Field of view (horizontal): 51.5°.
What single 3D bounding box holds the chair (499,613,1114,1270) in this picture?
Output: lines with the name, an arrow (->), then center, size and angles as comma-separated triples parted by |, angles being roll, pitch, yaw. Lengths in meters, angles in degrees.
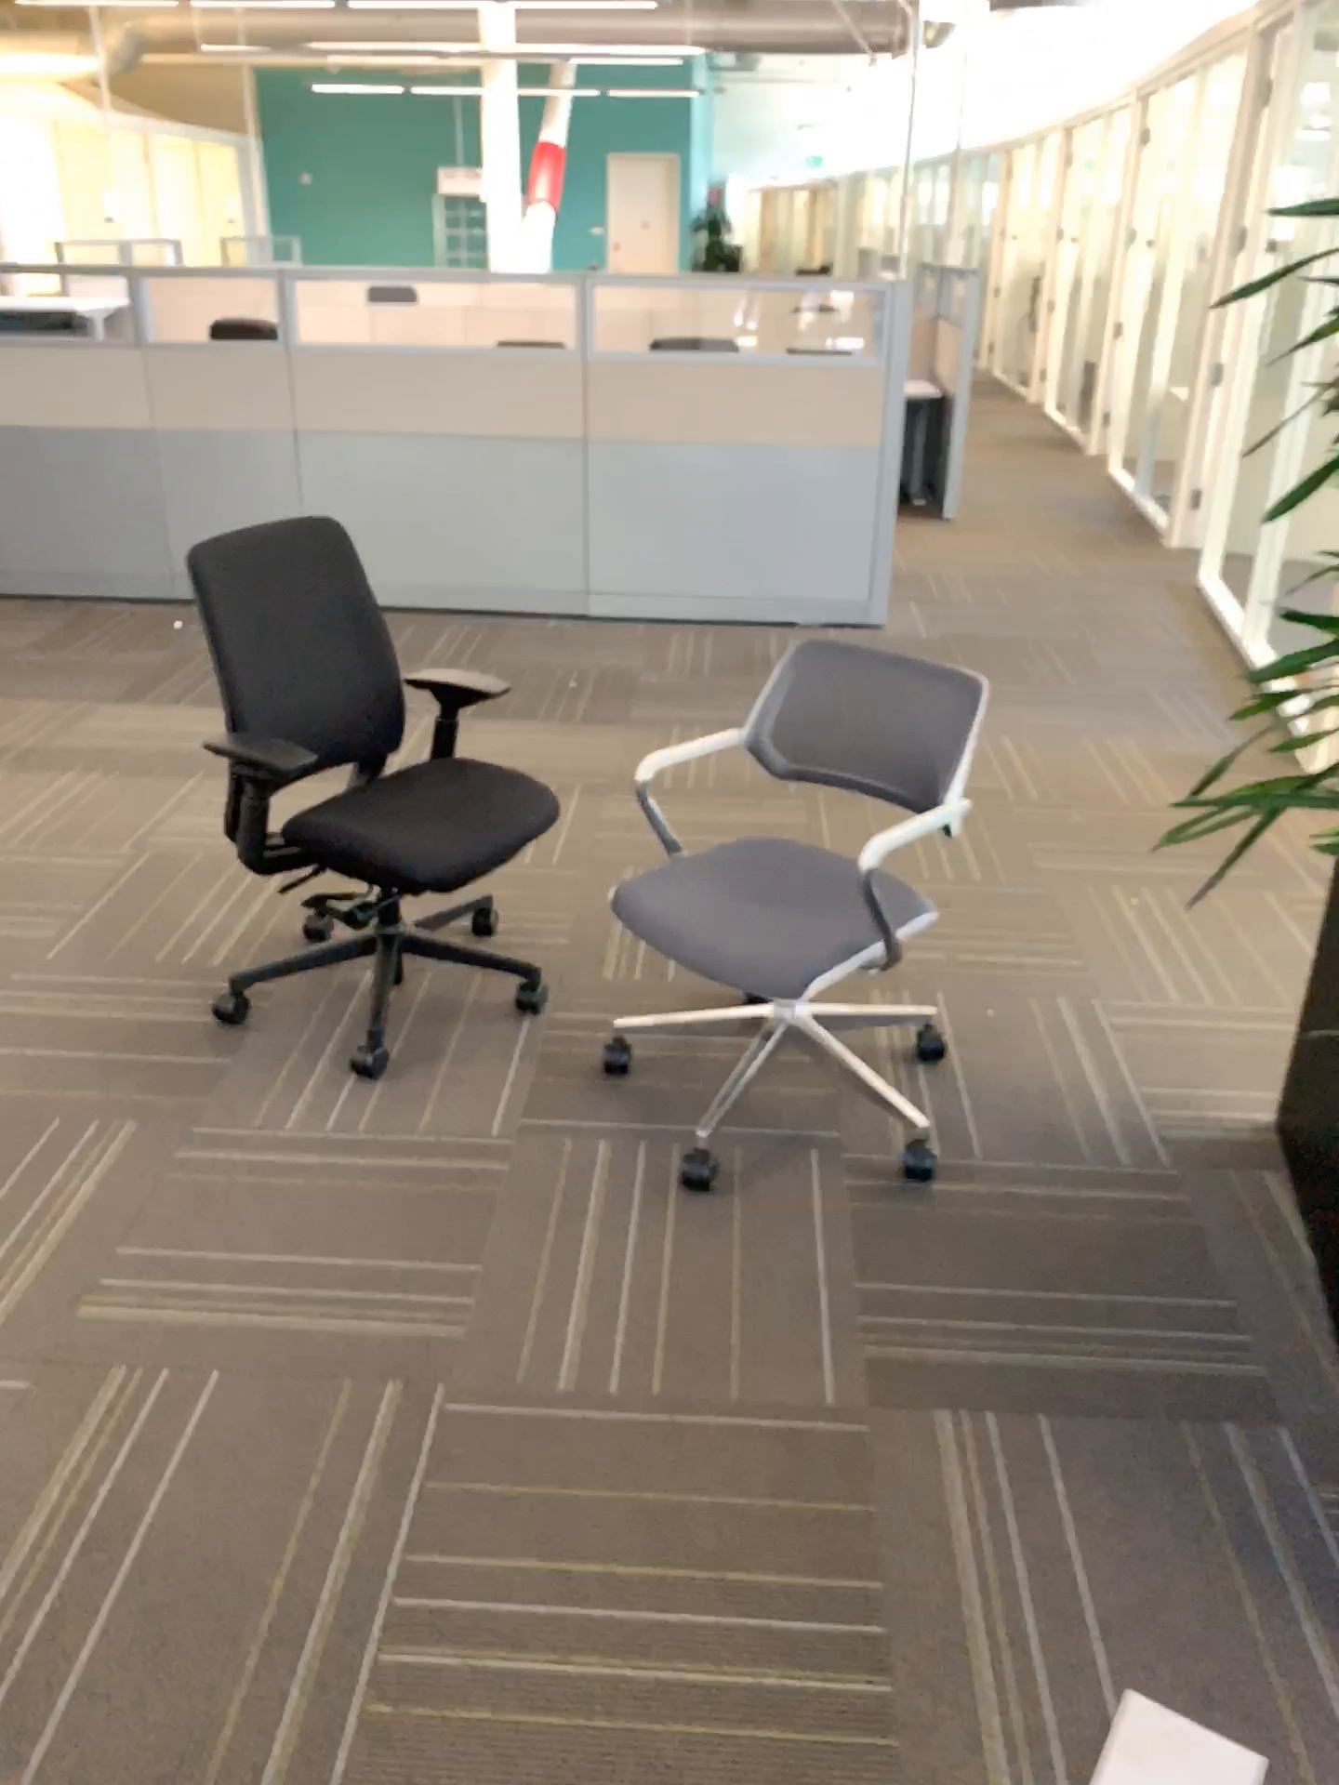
chair -> 0.234, 0.015, 2.489 | 0.733, 0.776, 0.751 | 20, 31, 35

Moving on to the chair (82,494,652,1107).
chair -> -0.546, -0.251, 2.836 | 0.712, 0.915, 0.823 | 13, 28, 23

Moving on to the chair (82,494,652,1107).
chair -> -0.546, -0.251, 2.836 | 0.712, 0.915, 0.823 | 13, 28, 23
